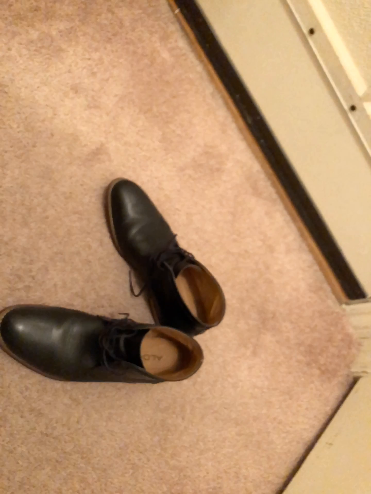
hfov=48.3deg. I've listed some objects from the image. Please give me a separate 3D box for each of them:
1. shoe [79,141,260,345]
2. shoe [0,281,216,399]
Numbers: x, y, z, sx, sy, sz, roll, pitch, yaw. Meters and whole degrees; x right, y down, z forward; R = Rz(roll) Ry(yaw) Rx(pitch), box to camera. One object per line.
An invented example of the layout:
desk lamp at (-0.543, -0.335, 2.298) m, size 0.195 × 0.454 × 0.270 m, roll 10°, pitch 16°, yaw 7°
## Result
shoe at (-0.029, 0.003, 0.693) m, size 0.117 × 0.136 × 0.302 m, roll -34°, pitch 97°, yaw -33°
shoe at (-0.122, 0.144, 0.598) m, size 0.303 × 0.136 × 0.116 m, roll 15°, pitch 71°, yaw -28°
